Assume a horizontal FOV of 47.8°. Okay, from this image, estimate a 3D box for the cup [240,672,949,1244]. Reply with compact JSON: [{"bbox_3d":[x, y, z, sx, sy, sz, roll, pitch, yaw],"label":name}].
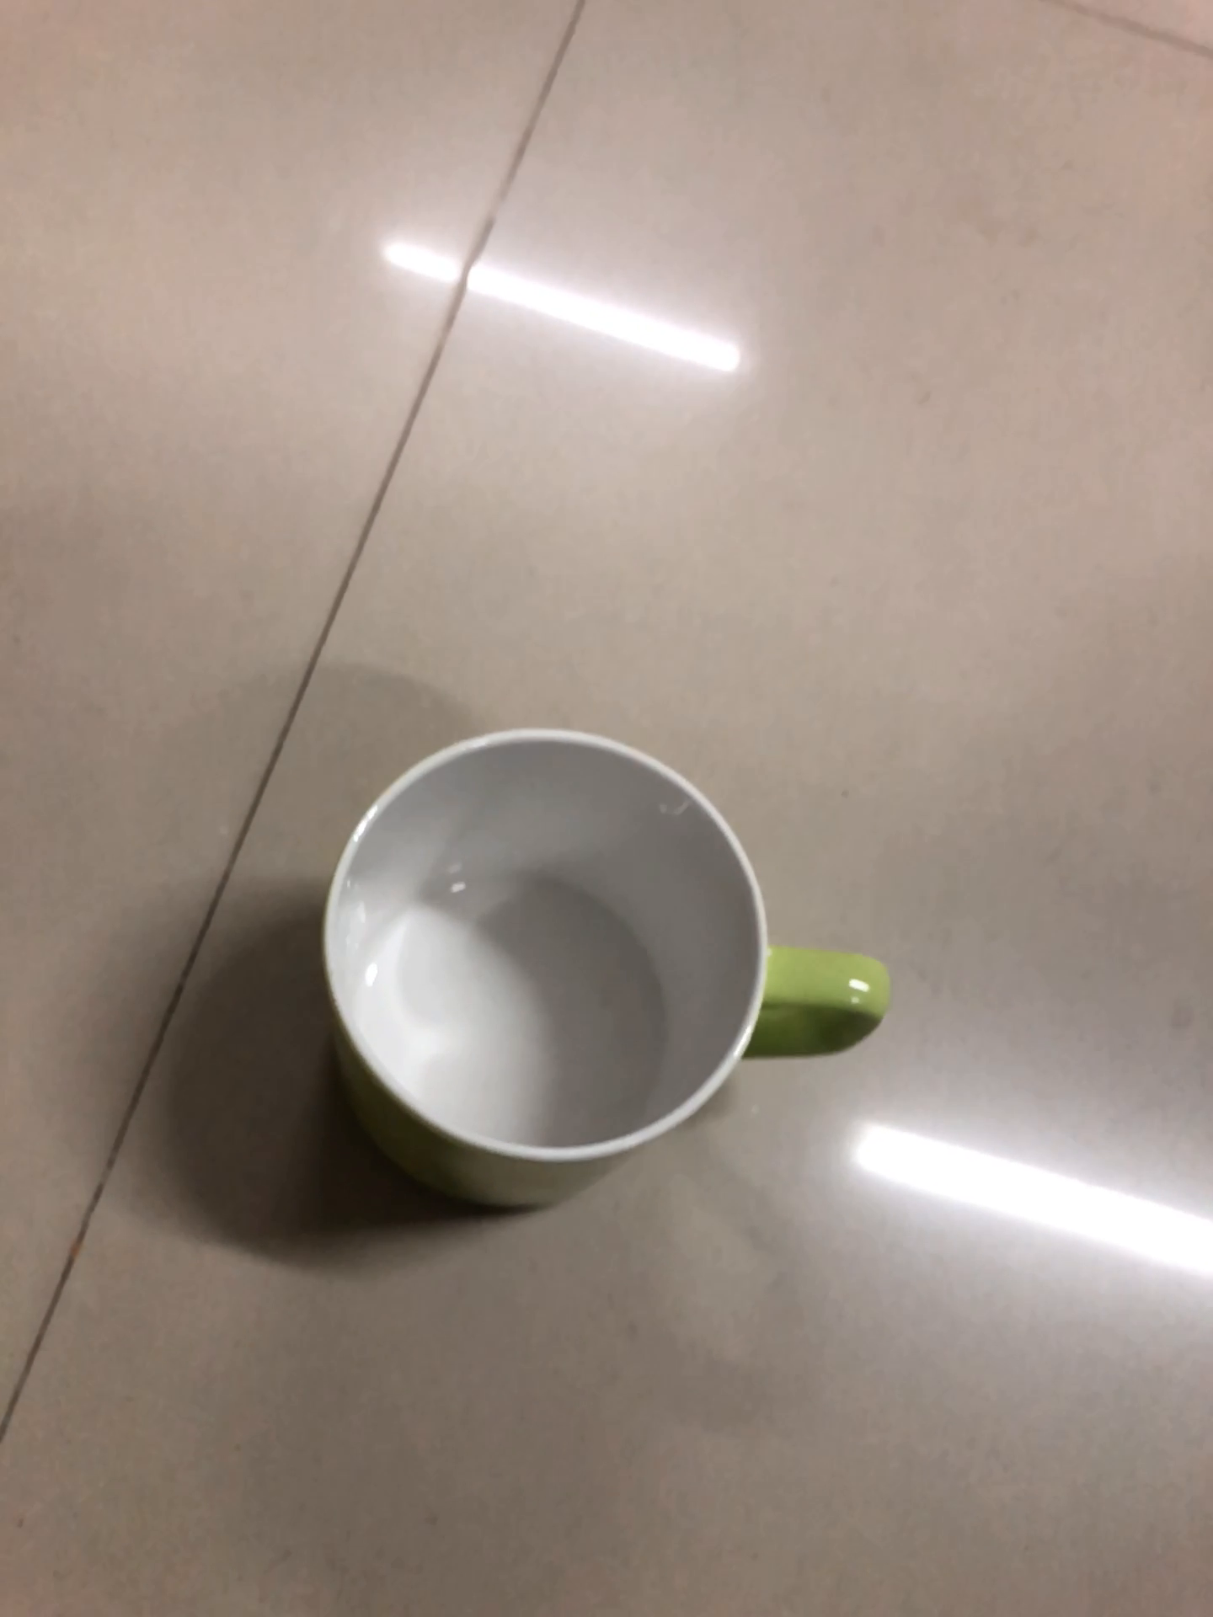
[{"bbox_3d":[-0.004,0.032,0.241,0.100,0.080,0.070,7,66,-7],"label":"cup"}]
